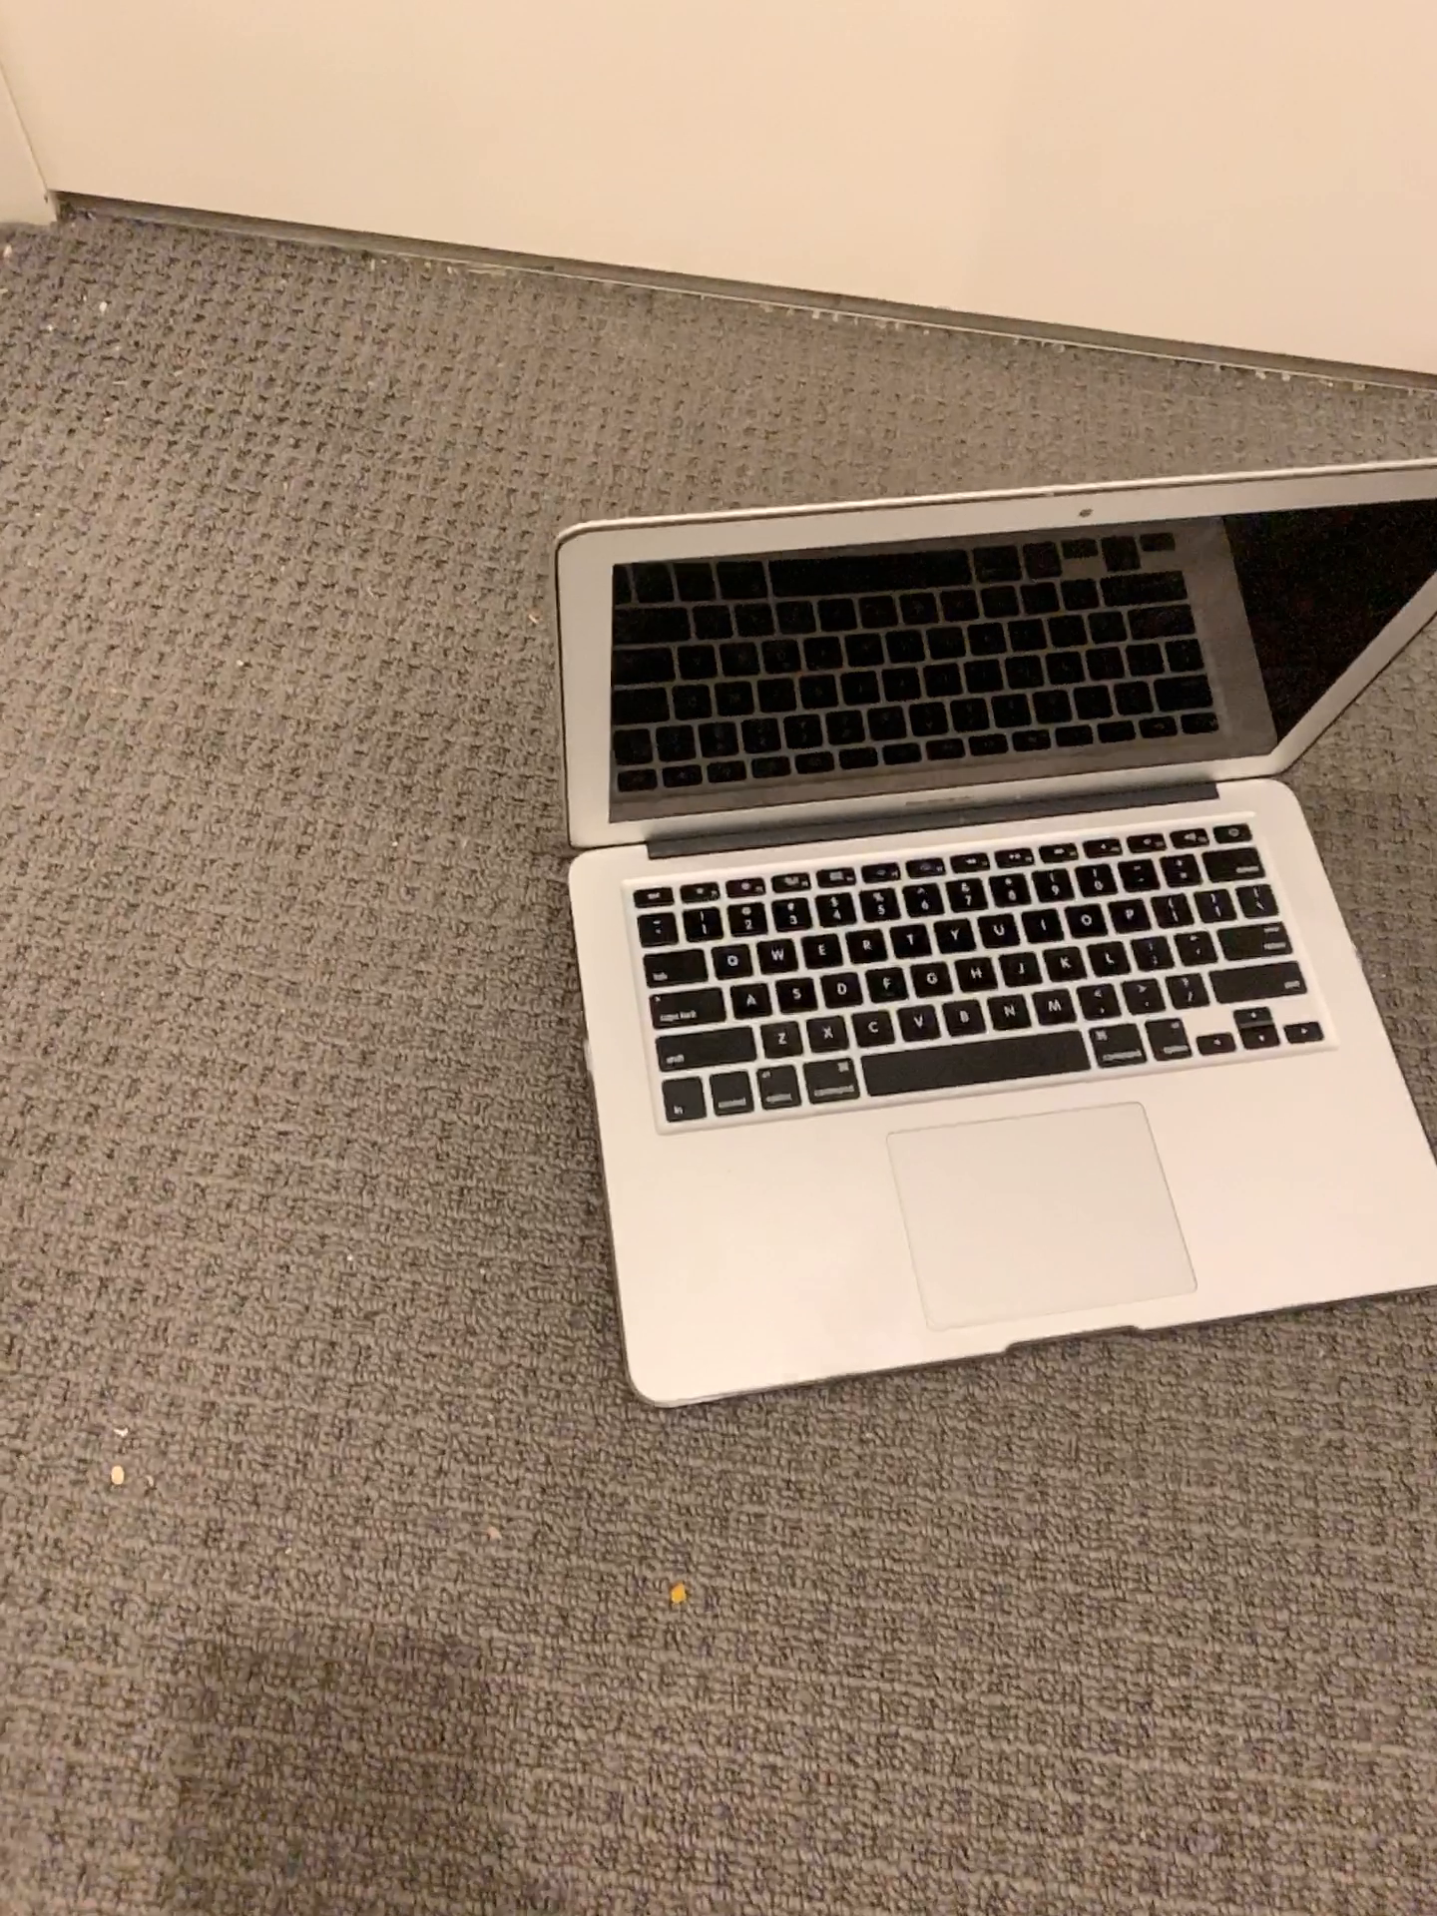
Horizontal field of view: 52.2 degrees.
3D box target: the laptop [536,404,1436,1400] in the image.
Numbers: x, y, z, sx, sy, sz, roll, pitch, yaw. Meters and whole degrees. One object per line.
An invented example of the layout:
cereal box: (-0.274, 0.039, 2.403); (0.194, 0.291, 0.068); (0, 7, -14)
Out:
laptop: (0.117, -0.011, 0.498); (0.322, 0.215, 0.227); (-7, 64, -7)
